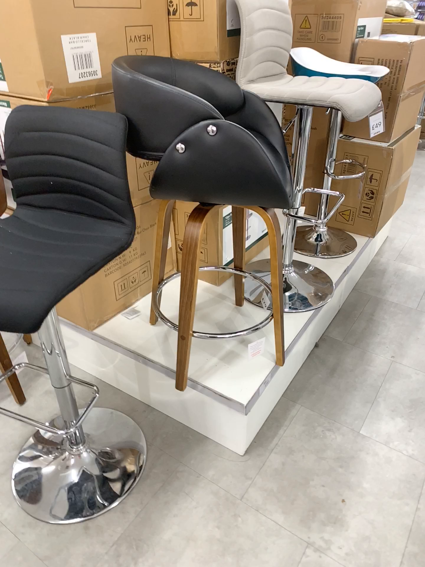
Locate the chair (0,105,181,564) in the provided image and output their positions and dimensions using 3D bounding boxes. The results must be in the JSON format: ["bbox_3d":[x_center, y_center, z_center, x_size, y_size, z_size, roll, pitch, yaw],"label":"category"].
[{"bbox_3d":[-0.450,0.118,1.133,0.485,1.016,0.470,11,33,24],"label":"chair"}]

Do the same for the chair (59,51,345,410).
[{"bbox_3d":[-0.005,-0.160,1.312,0.546,0.897,0.570,2,35,3],"label":"chair"}]

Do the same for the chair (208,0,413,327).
[{"bbox_3d":[0.293,-0.427,1.470,0.438,0.967,0.437,18,33,26],"label":"chair"}]
